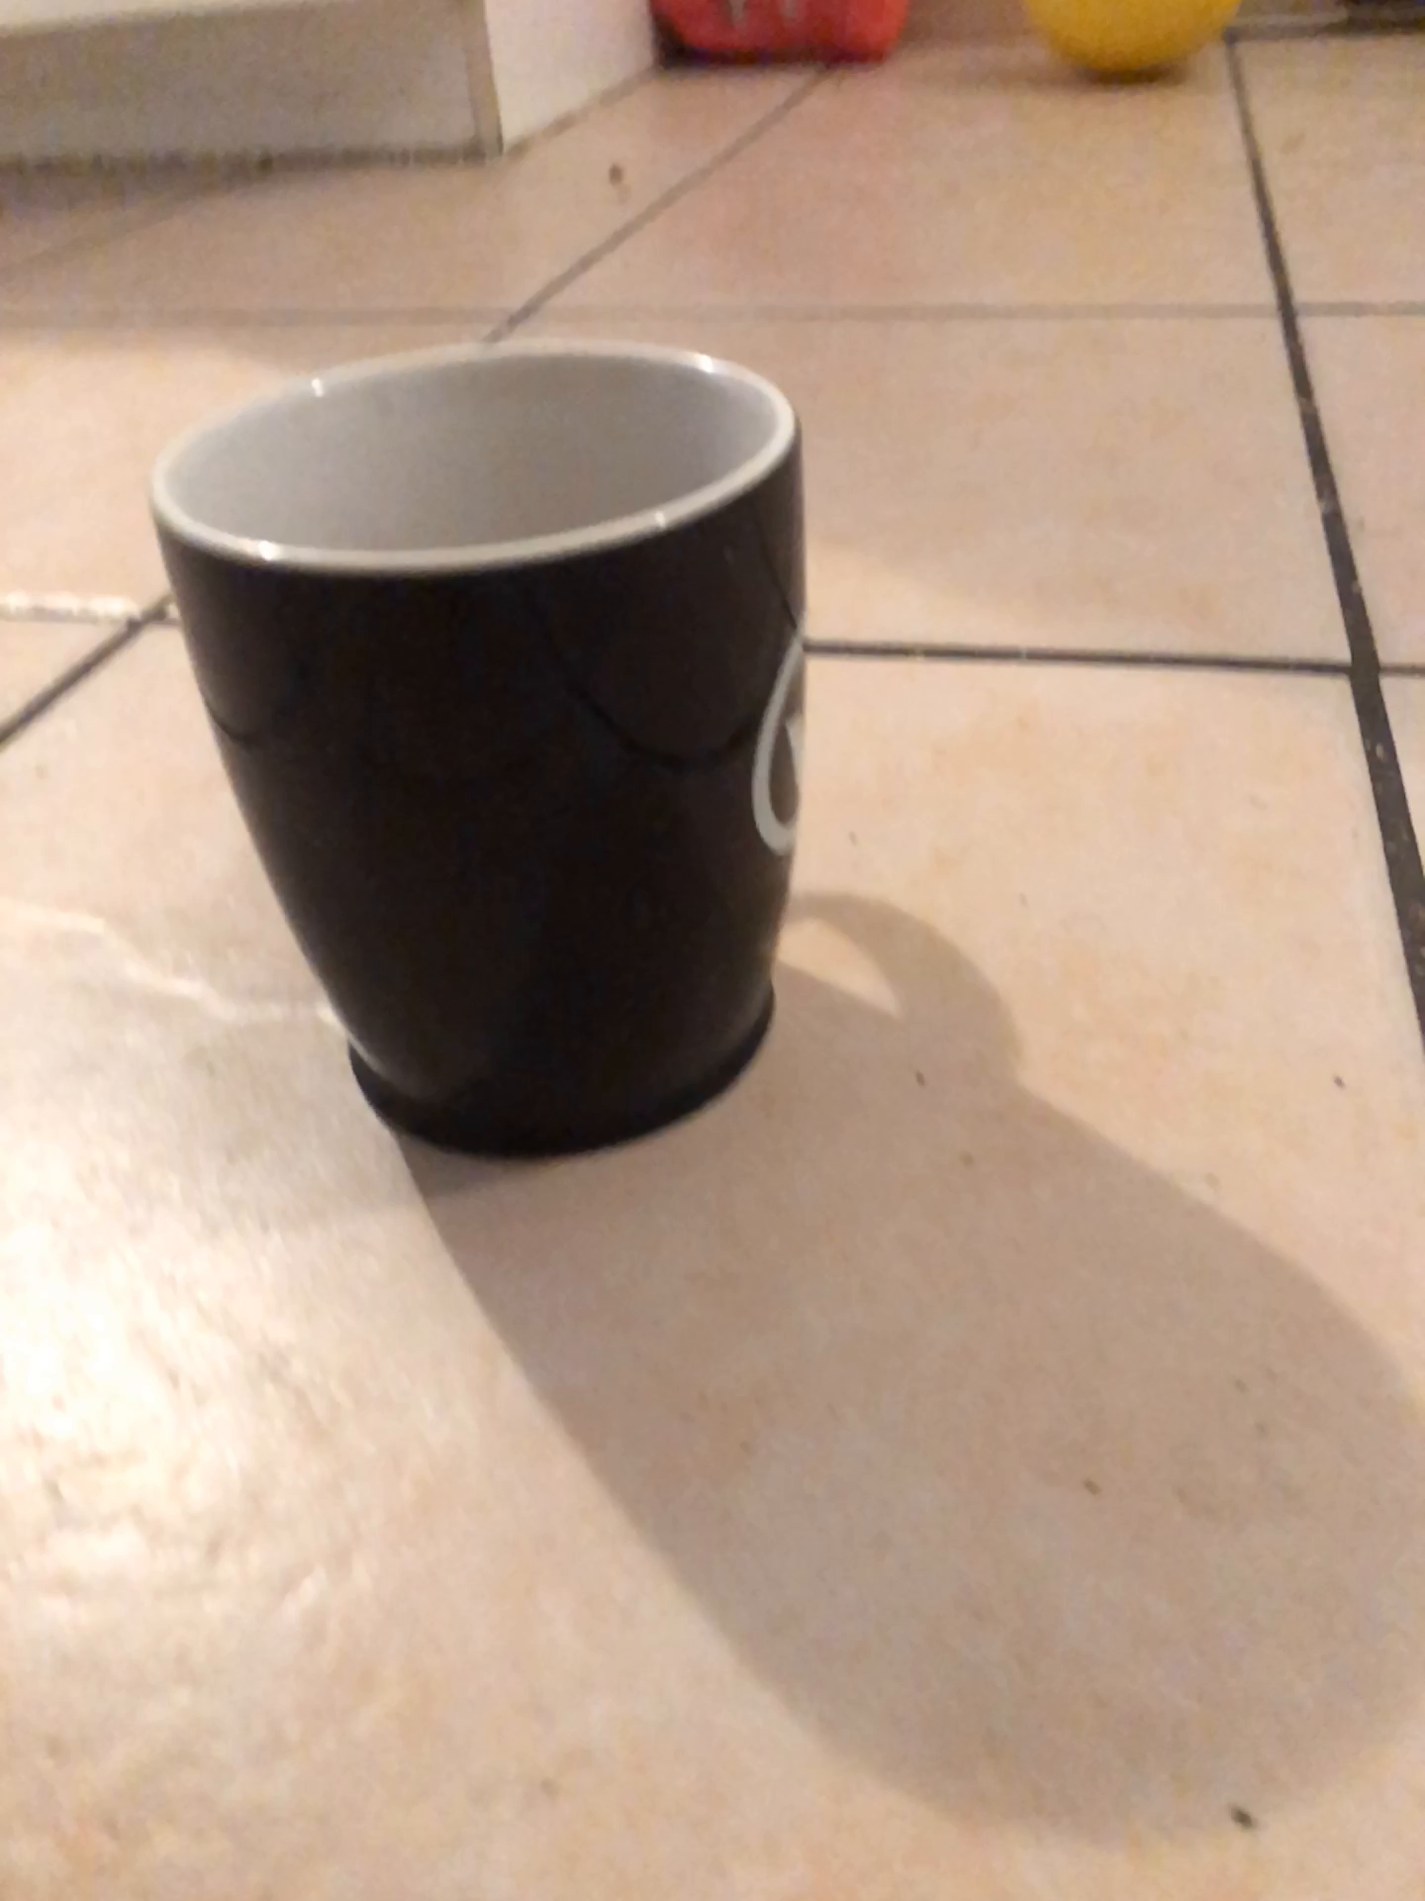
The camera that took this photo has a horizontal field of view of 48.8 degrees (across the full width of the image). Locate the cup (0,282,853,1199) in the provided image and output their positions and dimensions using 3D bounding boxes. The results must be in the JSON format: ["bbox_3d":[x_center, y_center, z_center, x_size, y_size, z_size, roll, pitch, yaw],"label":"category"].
[{"bbox_3d":[-0.031,-0.046,0.275,0.100,0.100,0.141,2,35,9],"label":"cup"}]
